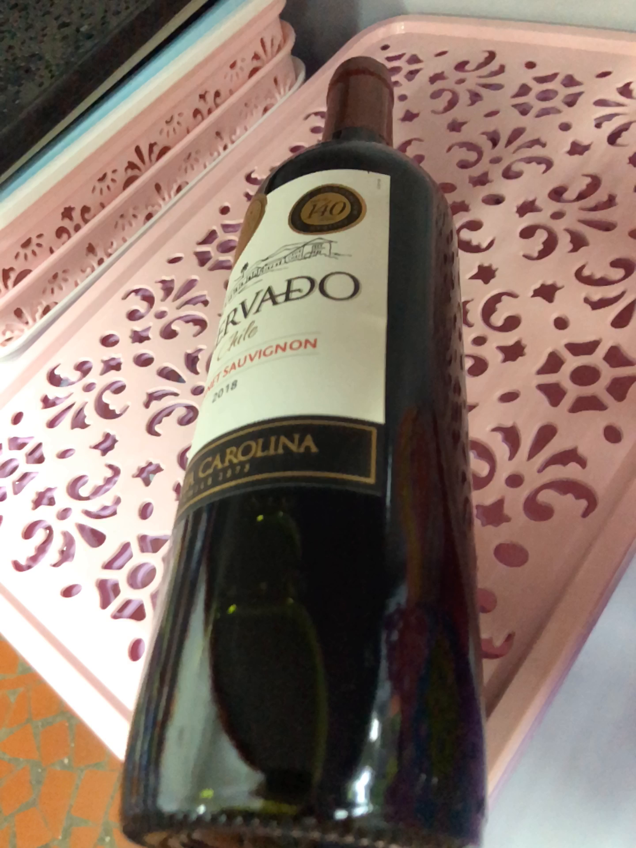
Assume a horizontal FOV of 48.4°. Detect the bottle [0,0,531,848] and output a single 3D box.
[{"bbox_3d":[0.010,-0.047,0.226,0.080,0.060,0.332,-7,48,17],"label":"bottle"}]
